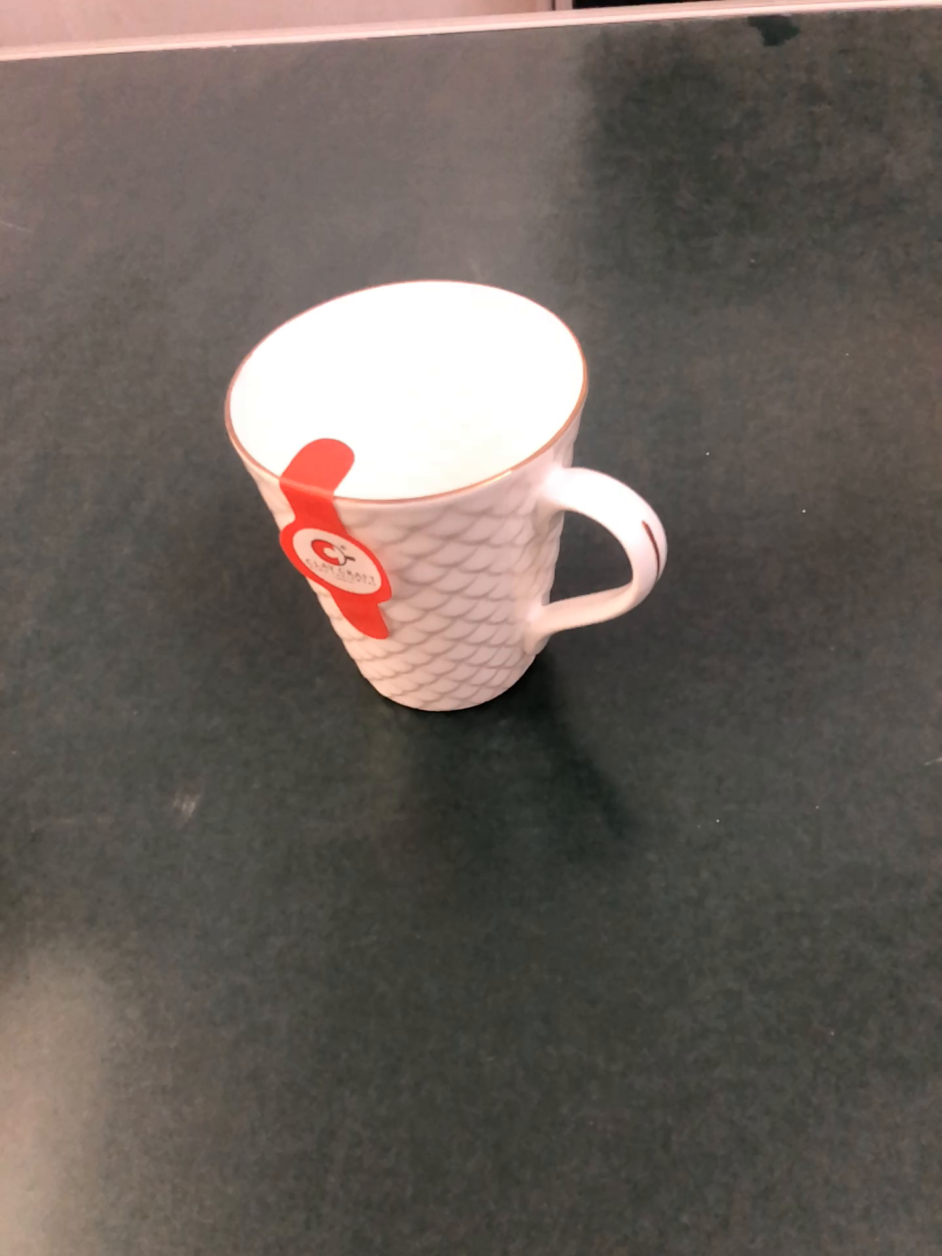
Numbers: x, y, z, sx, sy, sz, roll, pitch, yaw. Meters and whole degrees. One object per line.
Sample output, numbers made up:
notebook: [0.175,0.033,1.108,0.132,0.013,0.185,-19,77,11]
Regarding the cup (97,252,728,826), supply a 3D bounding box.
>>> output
cup: [-0.009,-0.026,0.270,0.120,0.090,0.080,19,54,22]
